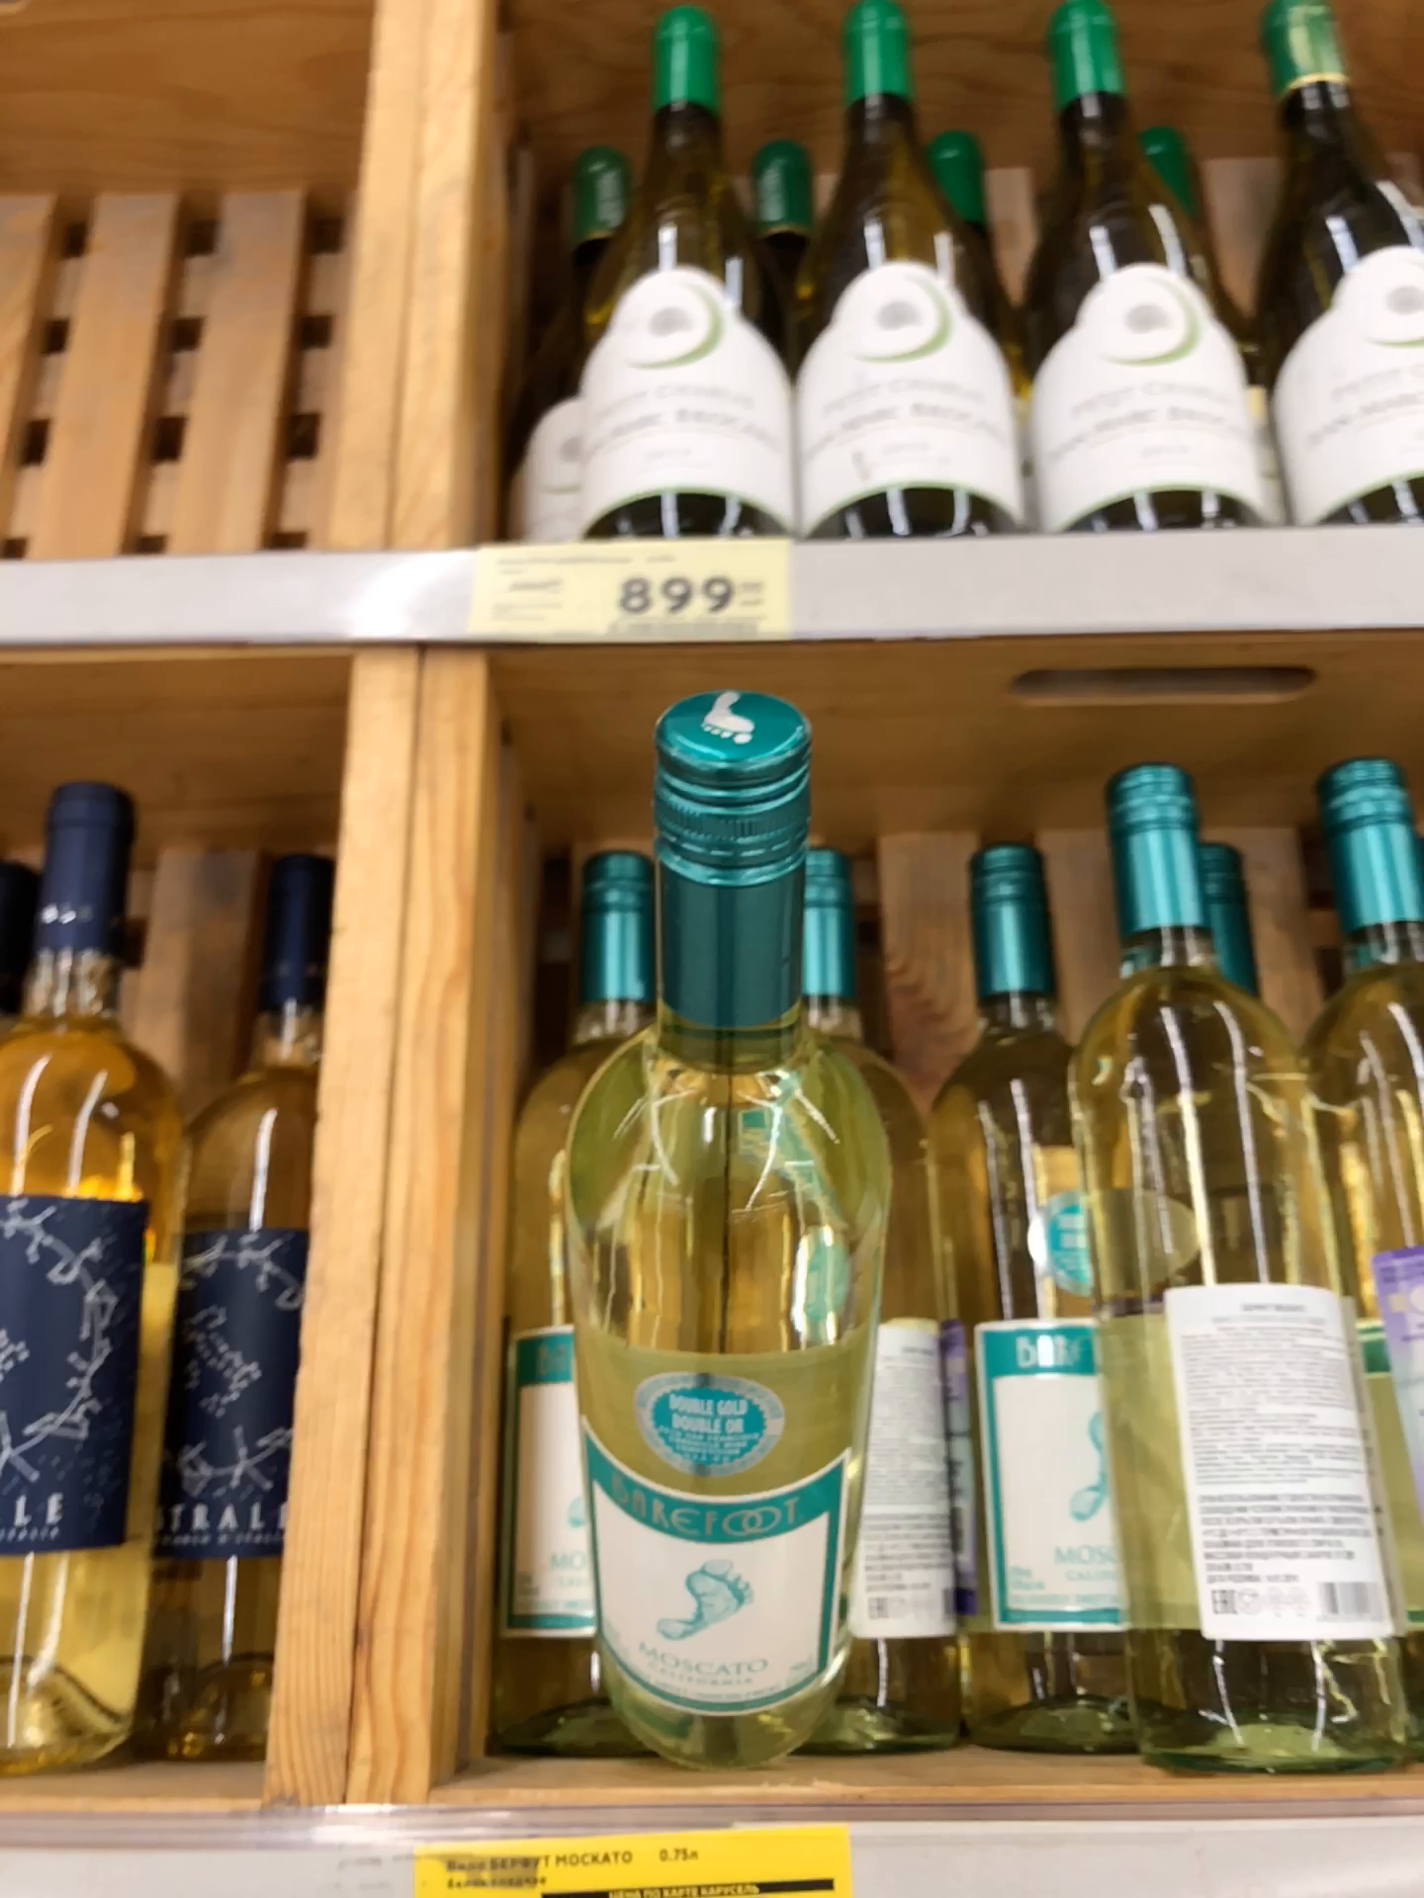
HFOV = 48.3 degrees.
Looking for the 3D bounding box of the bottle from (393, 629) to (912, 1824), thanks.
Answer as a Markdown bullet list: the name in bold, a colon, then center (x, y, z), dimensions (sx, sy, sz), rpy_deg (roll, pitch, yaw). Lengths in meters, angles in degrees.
- **bottle**: center (-0.004, 0.080, 0.364), dimensions (0.080, 0.288, 0.080), rpy_deg (-1, 34, 0)
